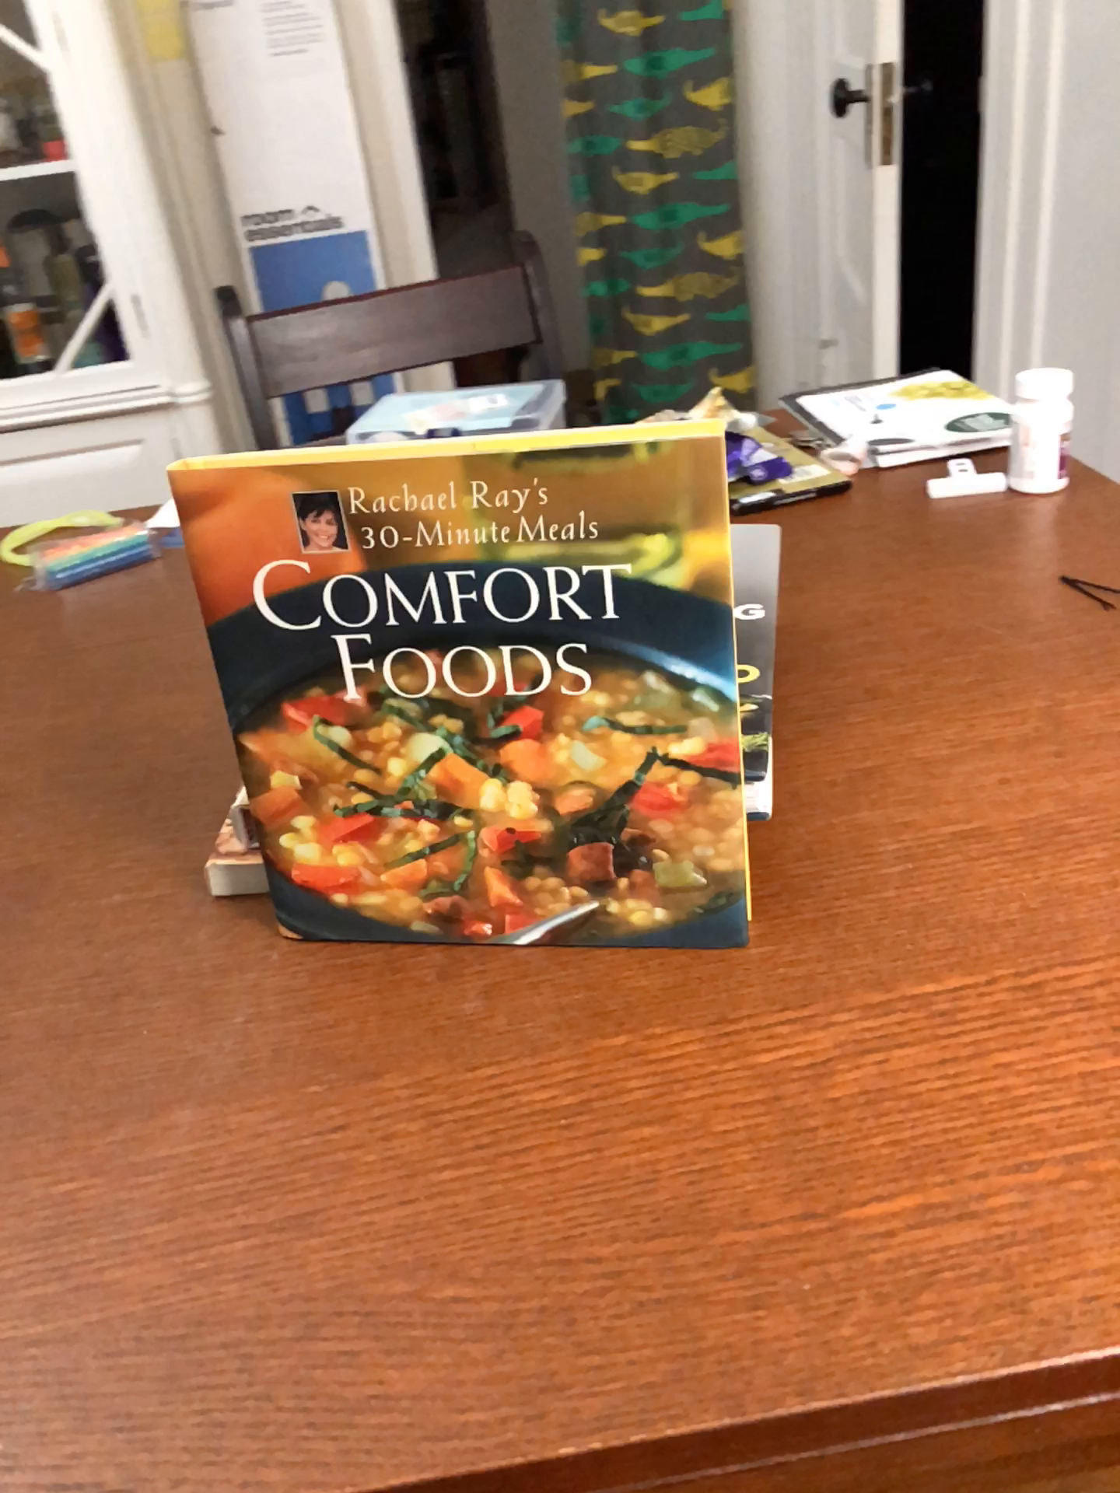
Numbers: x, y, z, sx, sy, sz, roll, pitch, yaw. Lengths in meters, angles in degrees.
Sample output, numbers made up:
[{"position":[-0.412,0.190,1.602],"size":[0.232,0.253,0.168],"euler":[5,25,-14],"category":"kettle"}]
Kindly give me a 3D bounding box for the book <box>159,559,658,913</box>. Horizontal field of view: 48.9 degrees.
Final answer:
[{"position":[-0.066,-0.021,0.668],"size":[0.220,0.030,0.282],"euler":[-6,31,4],"category":"book"}]

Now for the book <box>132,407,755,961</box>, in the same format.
[{"position":[-0.035,-0.015,0.472],"size":[0.210,0.209,0.030],"euler":[0,28,12],"category":"book"}]

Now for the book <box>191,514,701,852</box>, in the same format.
[{"position":[-0.044,-0.048,0.653],"size":[0.220,0.030,0.282],"euler":[-5,31,6],"category":"book"}]

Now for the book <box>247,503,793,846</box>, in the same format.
[{"position":[0.000,-0.049,0.613],"size":[0.220,0.030,0.282],"euler":[-2,31,11],"category":"book"}]
